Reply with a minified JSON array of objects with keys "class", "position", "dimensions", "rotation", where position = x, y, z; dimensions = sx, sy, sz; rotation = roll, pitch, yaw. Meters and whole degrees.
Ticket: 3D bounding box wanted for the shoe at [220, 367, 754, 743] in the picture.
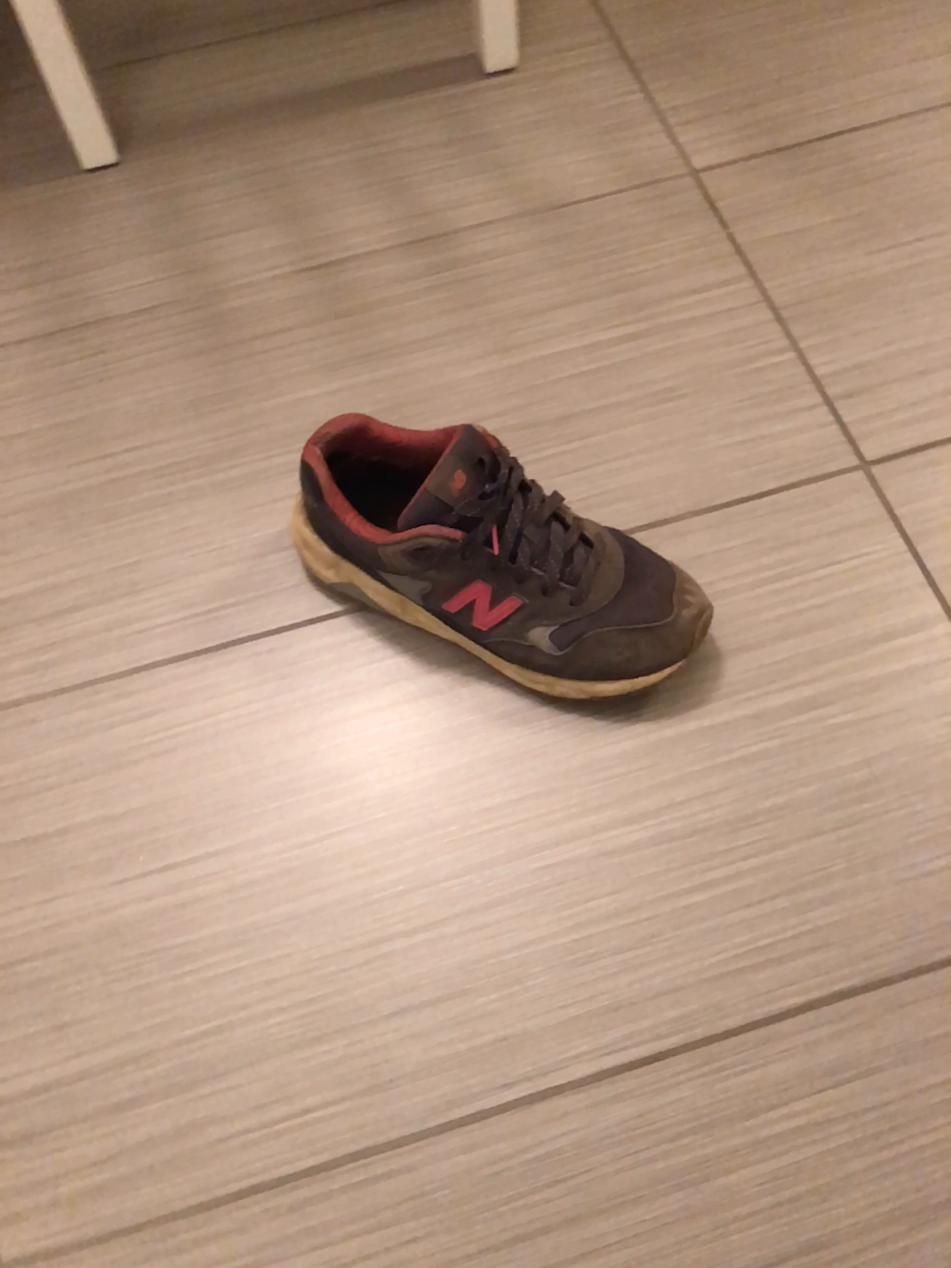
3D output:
[{"class":"shoe","position":[0.006,-0.051,0.609],"dimensions":[0.270,0.070,0.120],"rotation":[21,66,15]}]
